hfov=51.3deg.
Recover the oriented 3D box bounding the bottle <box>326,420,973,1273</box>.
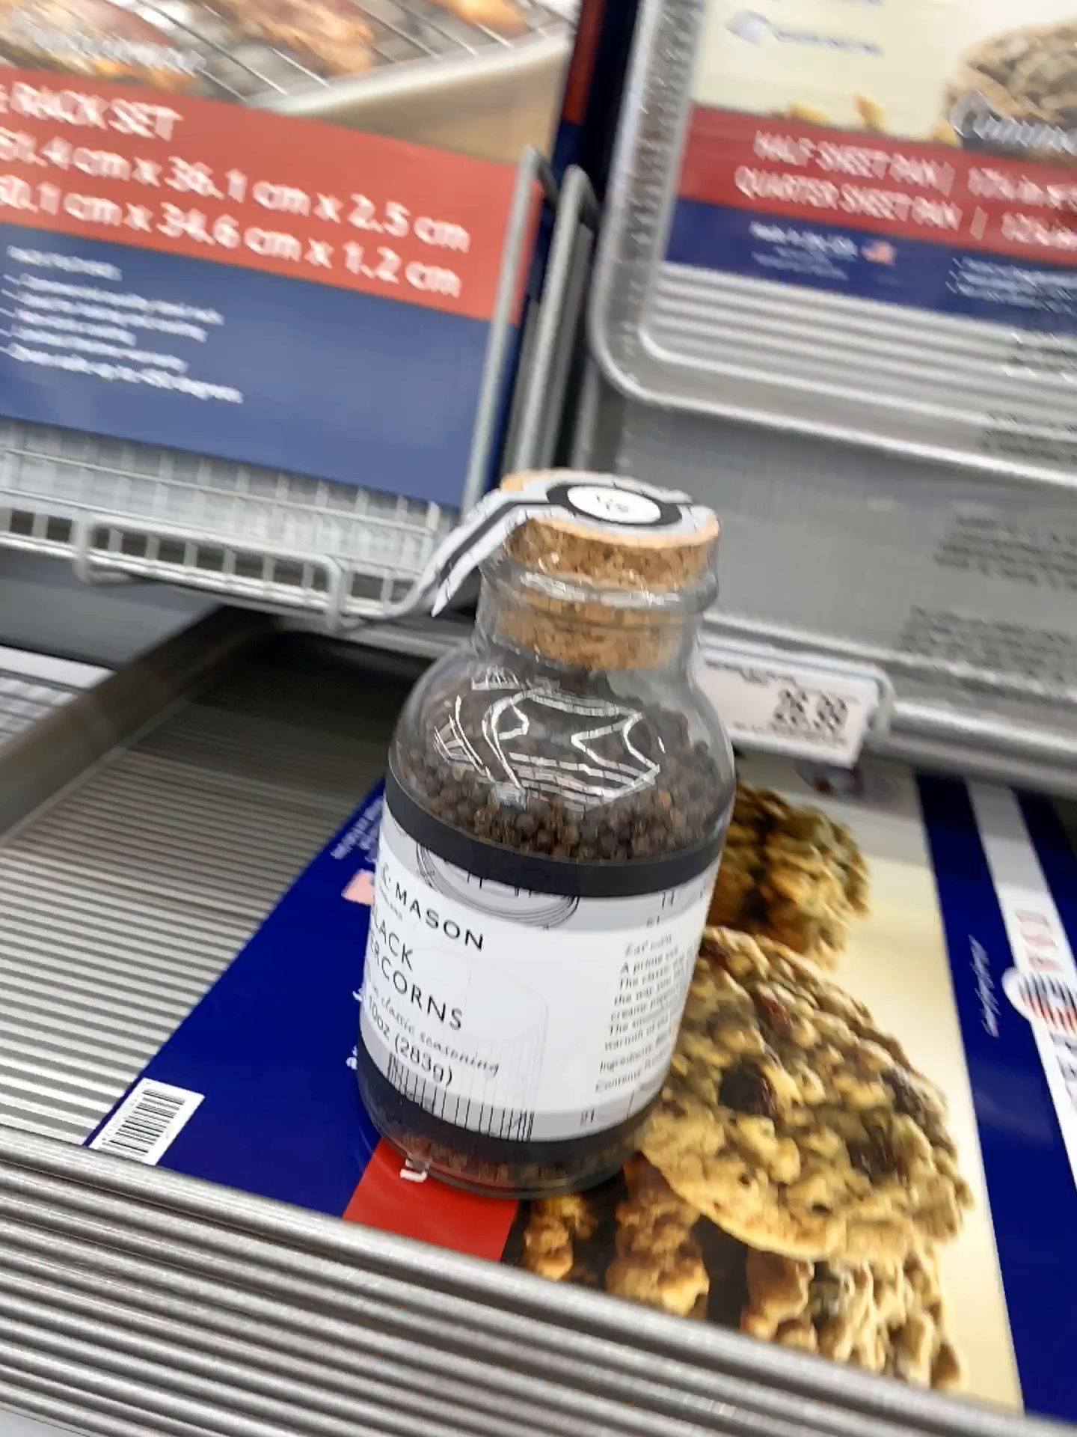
[{"bbox_3d":[0.012,0.024,0.261,0.090,0.159,0.090,8,24,-3],"label":"bottle"}]
